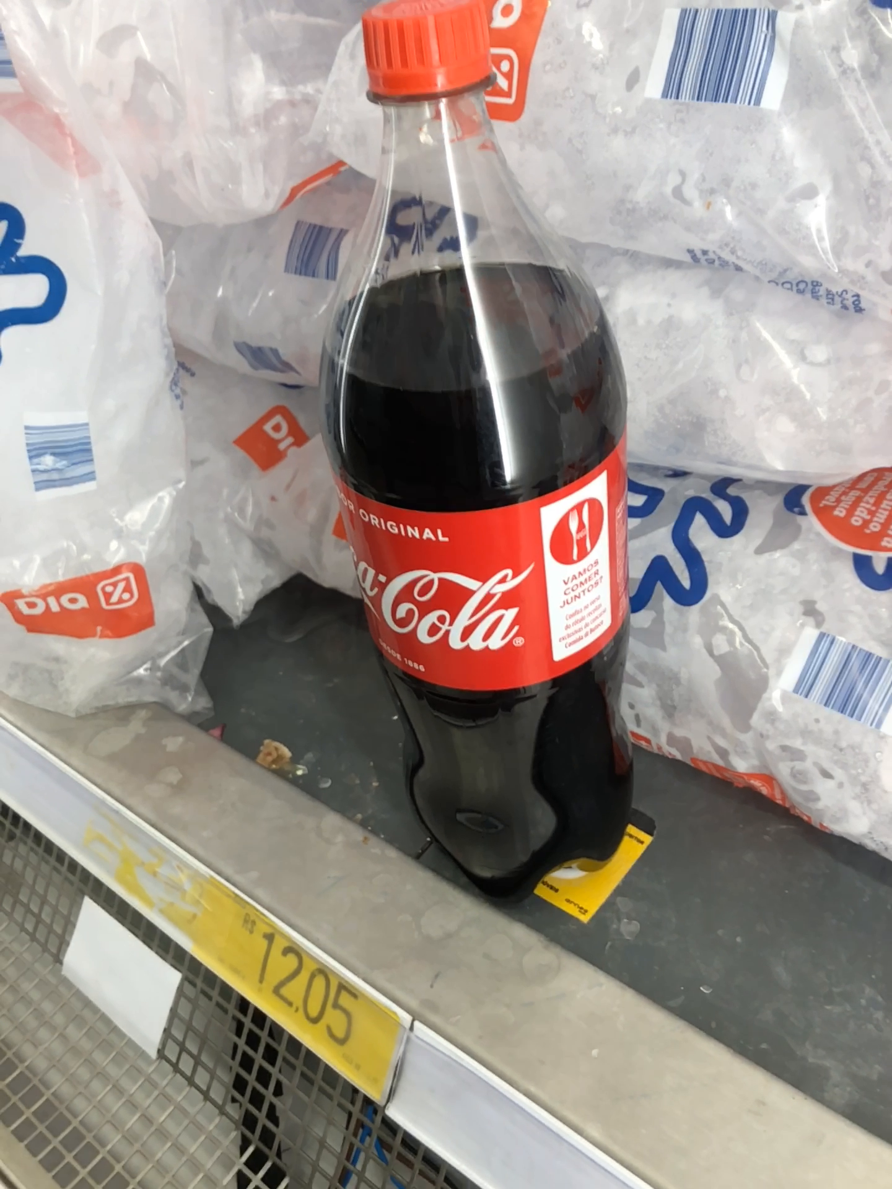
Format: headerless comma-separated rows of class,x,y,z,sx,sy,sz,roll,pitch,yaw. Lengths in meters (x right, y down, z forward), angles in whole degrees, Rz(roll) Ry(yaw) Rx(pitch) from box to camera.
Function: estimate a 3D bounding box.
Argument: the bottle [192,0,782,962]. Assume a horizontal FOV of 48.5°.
bottle,0.022,-0.020,0.306,0.080,0.288,0.100,-35,47,-27
